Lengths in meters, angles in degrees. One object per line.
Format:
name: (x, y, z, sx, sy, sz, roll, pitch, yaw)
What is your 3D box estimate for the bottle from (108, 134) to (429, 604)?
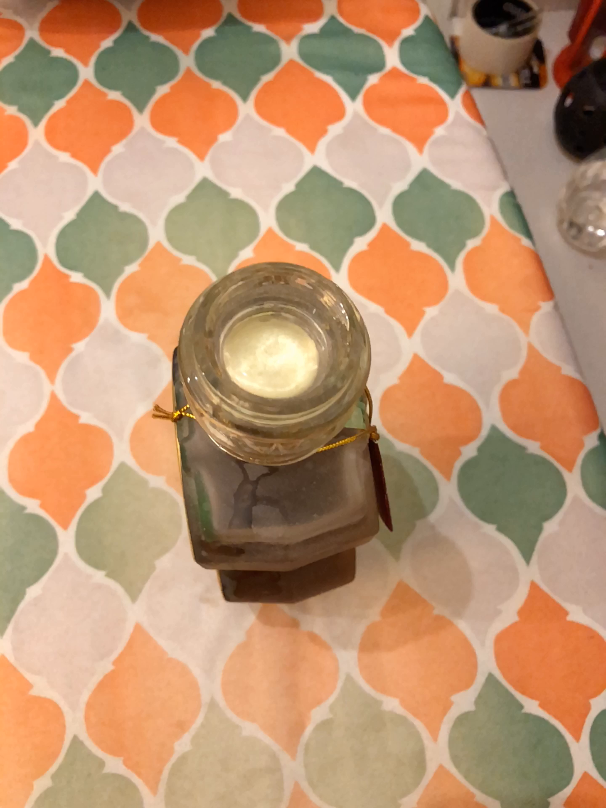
bottle: (-0.014, 0.018, 0.272, 0.064, 0.234, 0.100, -8, 71, -4)
